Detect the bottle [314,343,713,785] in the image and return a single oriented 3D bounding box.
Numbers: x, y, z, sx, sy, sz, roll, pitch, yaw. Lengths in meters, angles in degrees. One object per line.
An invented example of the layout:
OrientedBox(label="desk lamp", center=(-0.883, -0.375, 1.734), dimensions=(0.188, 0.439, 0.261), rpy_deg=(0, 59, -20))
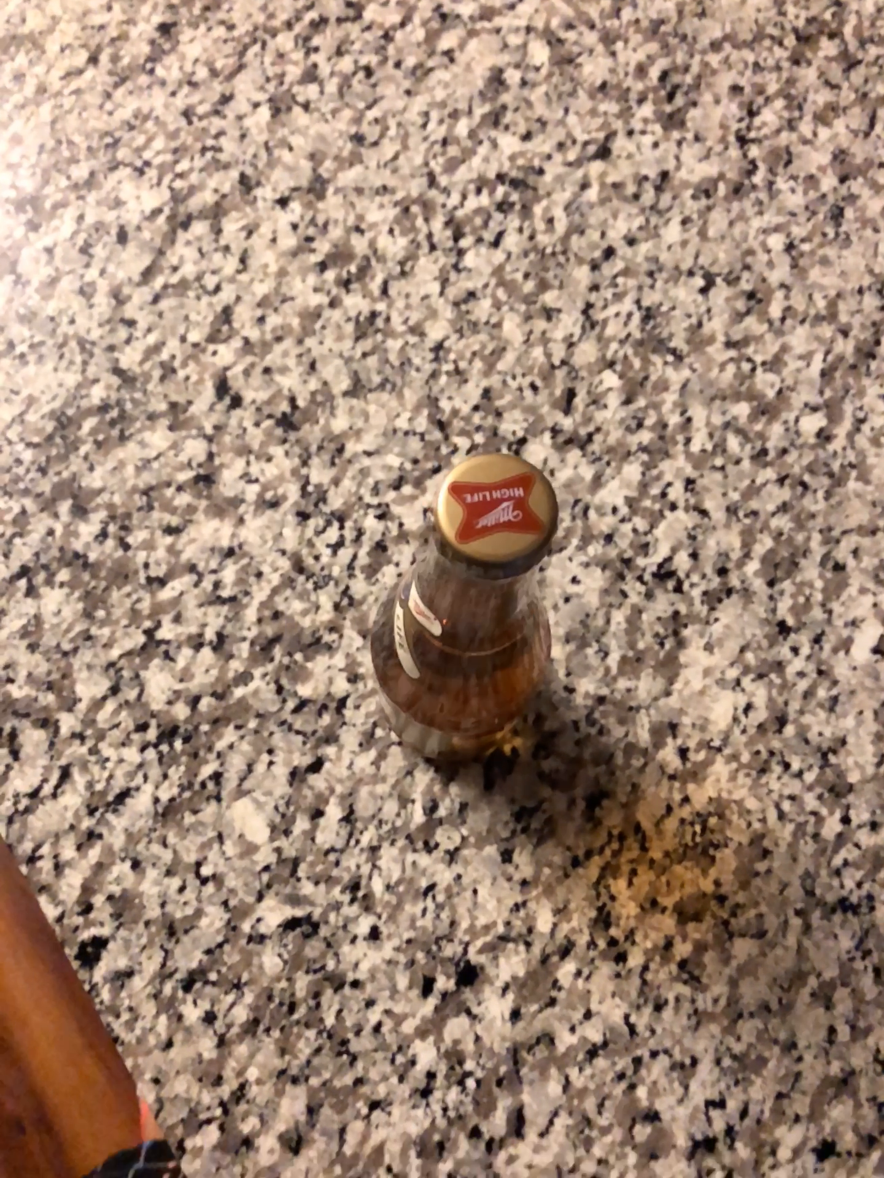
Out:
OrientedBox(label="bottle", center=(0.013, 0.015, 0.310), dimensions=(0.070, 0.230, 0.060), rpy_deg=(13, 74, 3))
